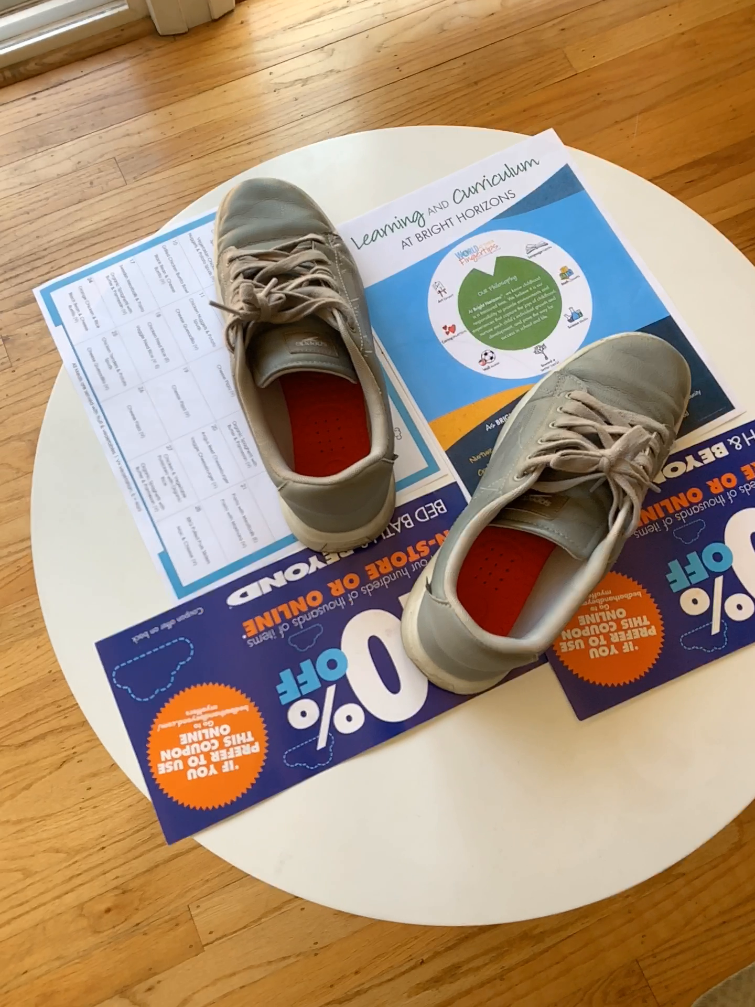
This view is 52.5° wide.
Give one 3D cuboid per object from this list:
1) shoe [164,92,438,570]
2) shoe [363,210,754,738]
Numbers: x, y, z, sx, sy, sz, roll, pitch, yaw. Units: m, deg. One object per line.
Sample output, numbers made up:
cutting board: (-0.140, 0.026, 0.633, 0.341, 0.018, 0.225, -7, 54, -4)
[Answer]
shoe: (-0.050, -0.108, 0.492, 0.100, 0.100, 0.270, -15, 75, -3)
shoe: (0.117, -0.013, 0.446, 0.100, 0.110, 0.280, 36, 78, 10)
